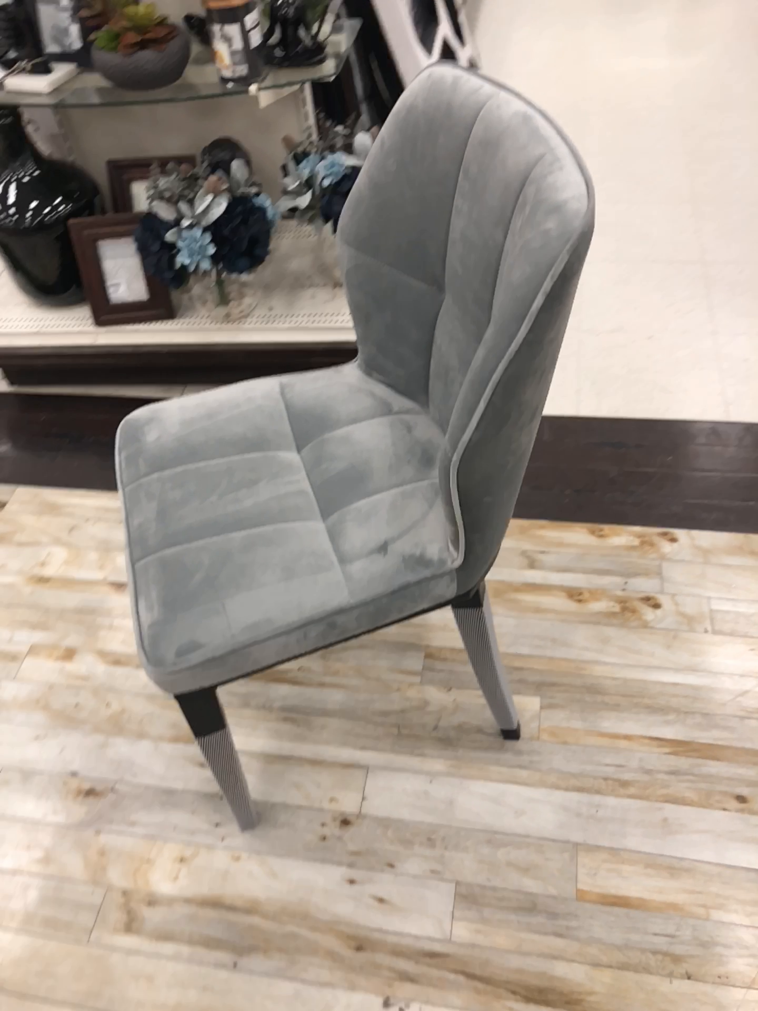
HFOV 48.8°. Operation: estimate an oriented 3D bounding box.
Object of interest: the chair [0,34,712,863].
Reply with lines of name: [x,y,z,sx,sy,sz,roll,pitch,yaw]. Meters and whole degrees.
chair: [-0.047,-0.030,1.101,0.570,0.837,0.532,-15,47,-7]
